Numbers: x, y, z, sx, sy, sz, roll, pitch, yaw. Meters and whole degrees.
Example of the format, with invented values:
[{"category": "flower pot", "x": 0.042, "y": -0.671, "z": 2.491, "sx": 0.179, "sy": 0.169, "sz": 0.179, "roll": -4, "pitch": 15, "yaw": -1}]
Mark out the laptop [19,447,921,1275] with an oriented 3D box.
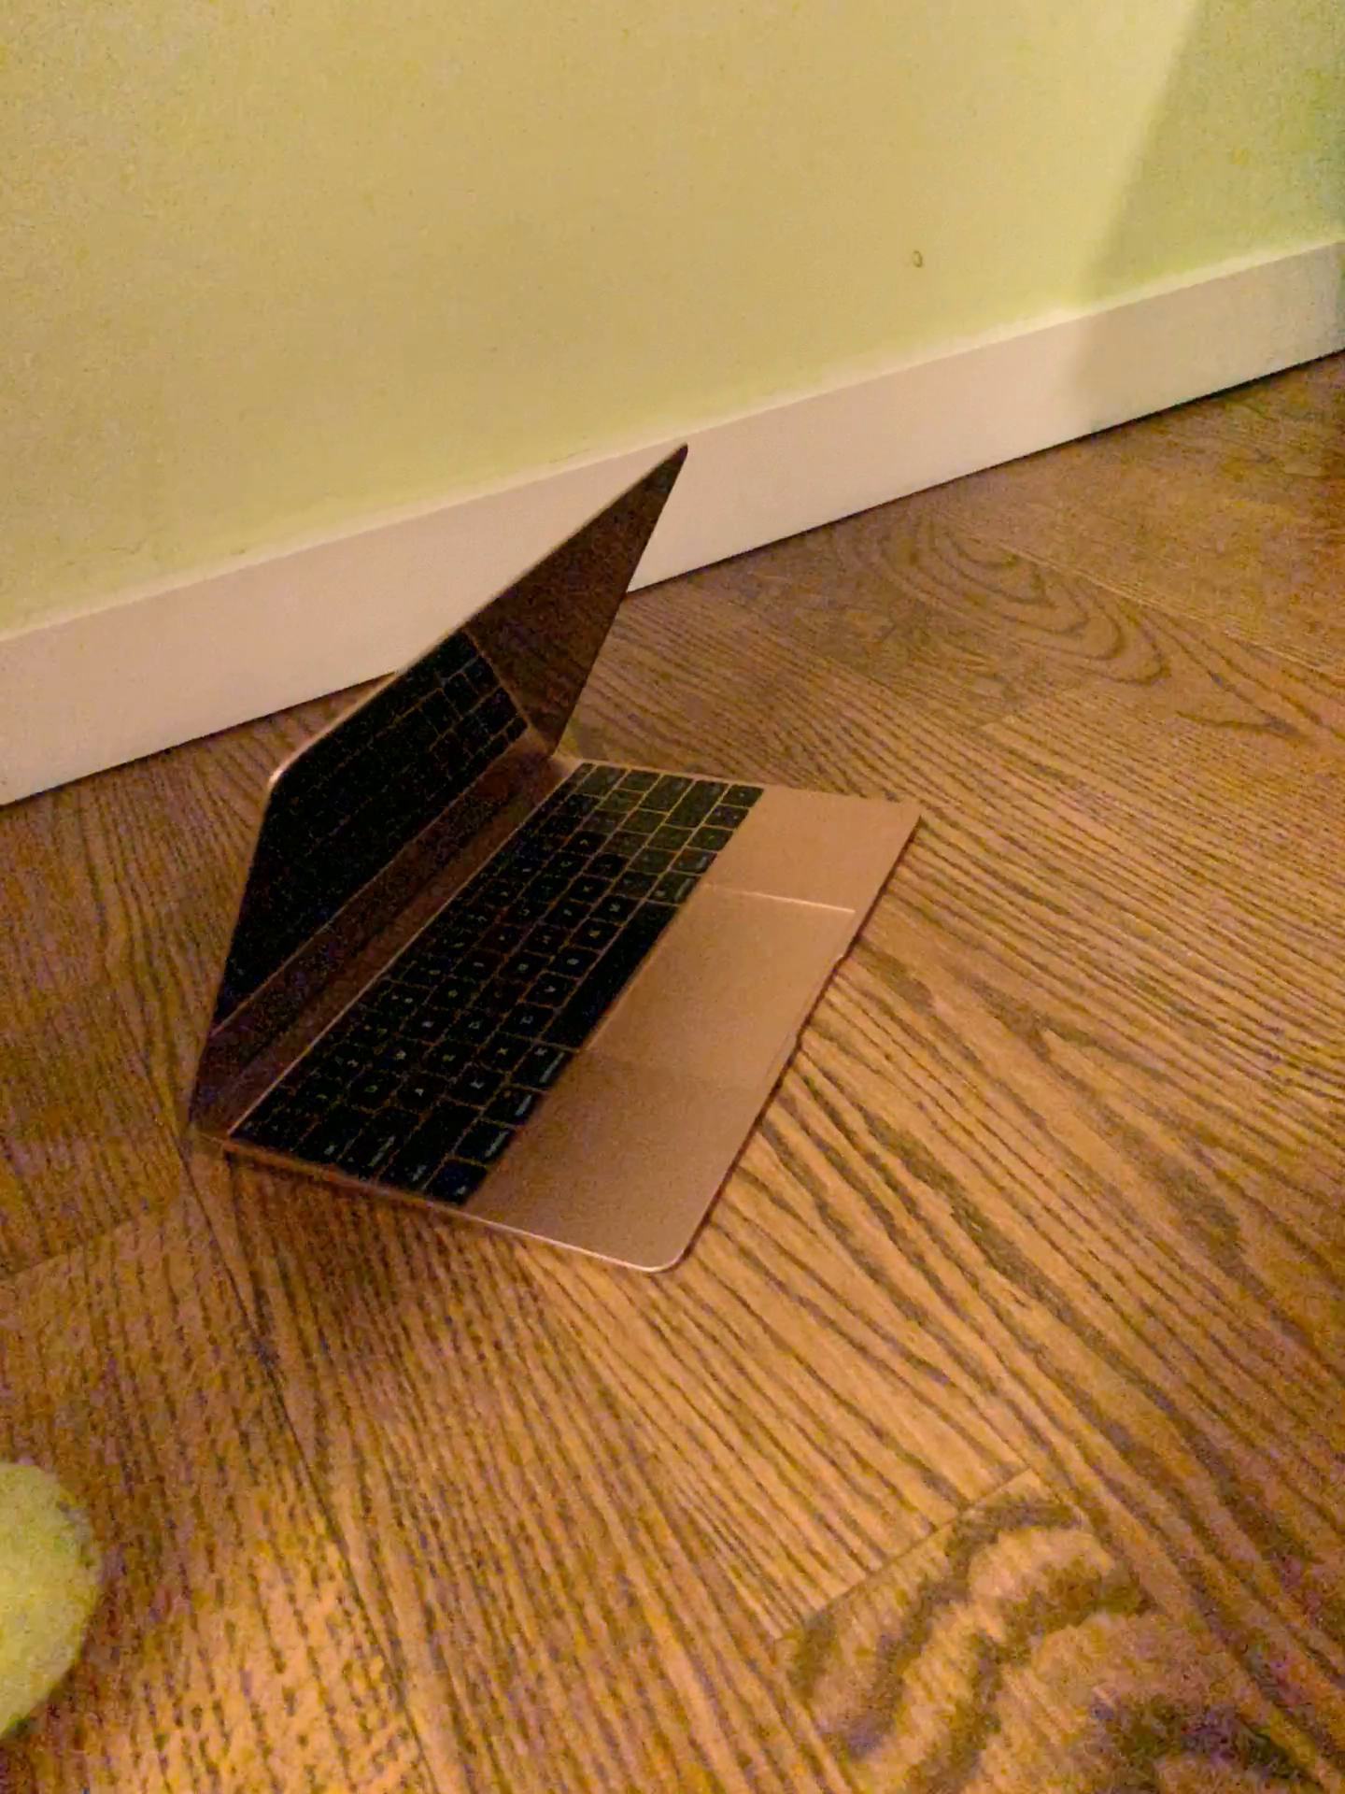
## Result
[{"category": "laptop", "x": -0.043, "y": -0.044, "z": 0.541, "sx": 0.206, "sy": 0.168, "sz": 0.289, "roll": 9, "pitch": 38, "yaw": 23}]
